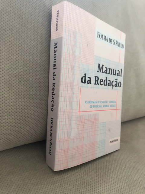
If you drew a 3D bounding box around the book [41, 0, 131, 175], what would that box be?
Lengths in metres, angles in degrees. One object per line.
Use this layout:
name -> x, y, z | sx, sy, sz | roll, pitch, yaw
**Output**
book -> 0.033, -0.015, 0.275 | 0.166, 0.229, 0.040 | 0, 2, -40
